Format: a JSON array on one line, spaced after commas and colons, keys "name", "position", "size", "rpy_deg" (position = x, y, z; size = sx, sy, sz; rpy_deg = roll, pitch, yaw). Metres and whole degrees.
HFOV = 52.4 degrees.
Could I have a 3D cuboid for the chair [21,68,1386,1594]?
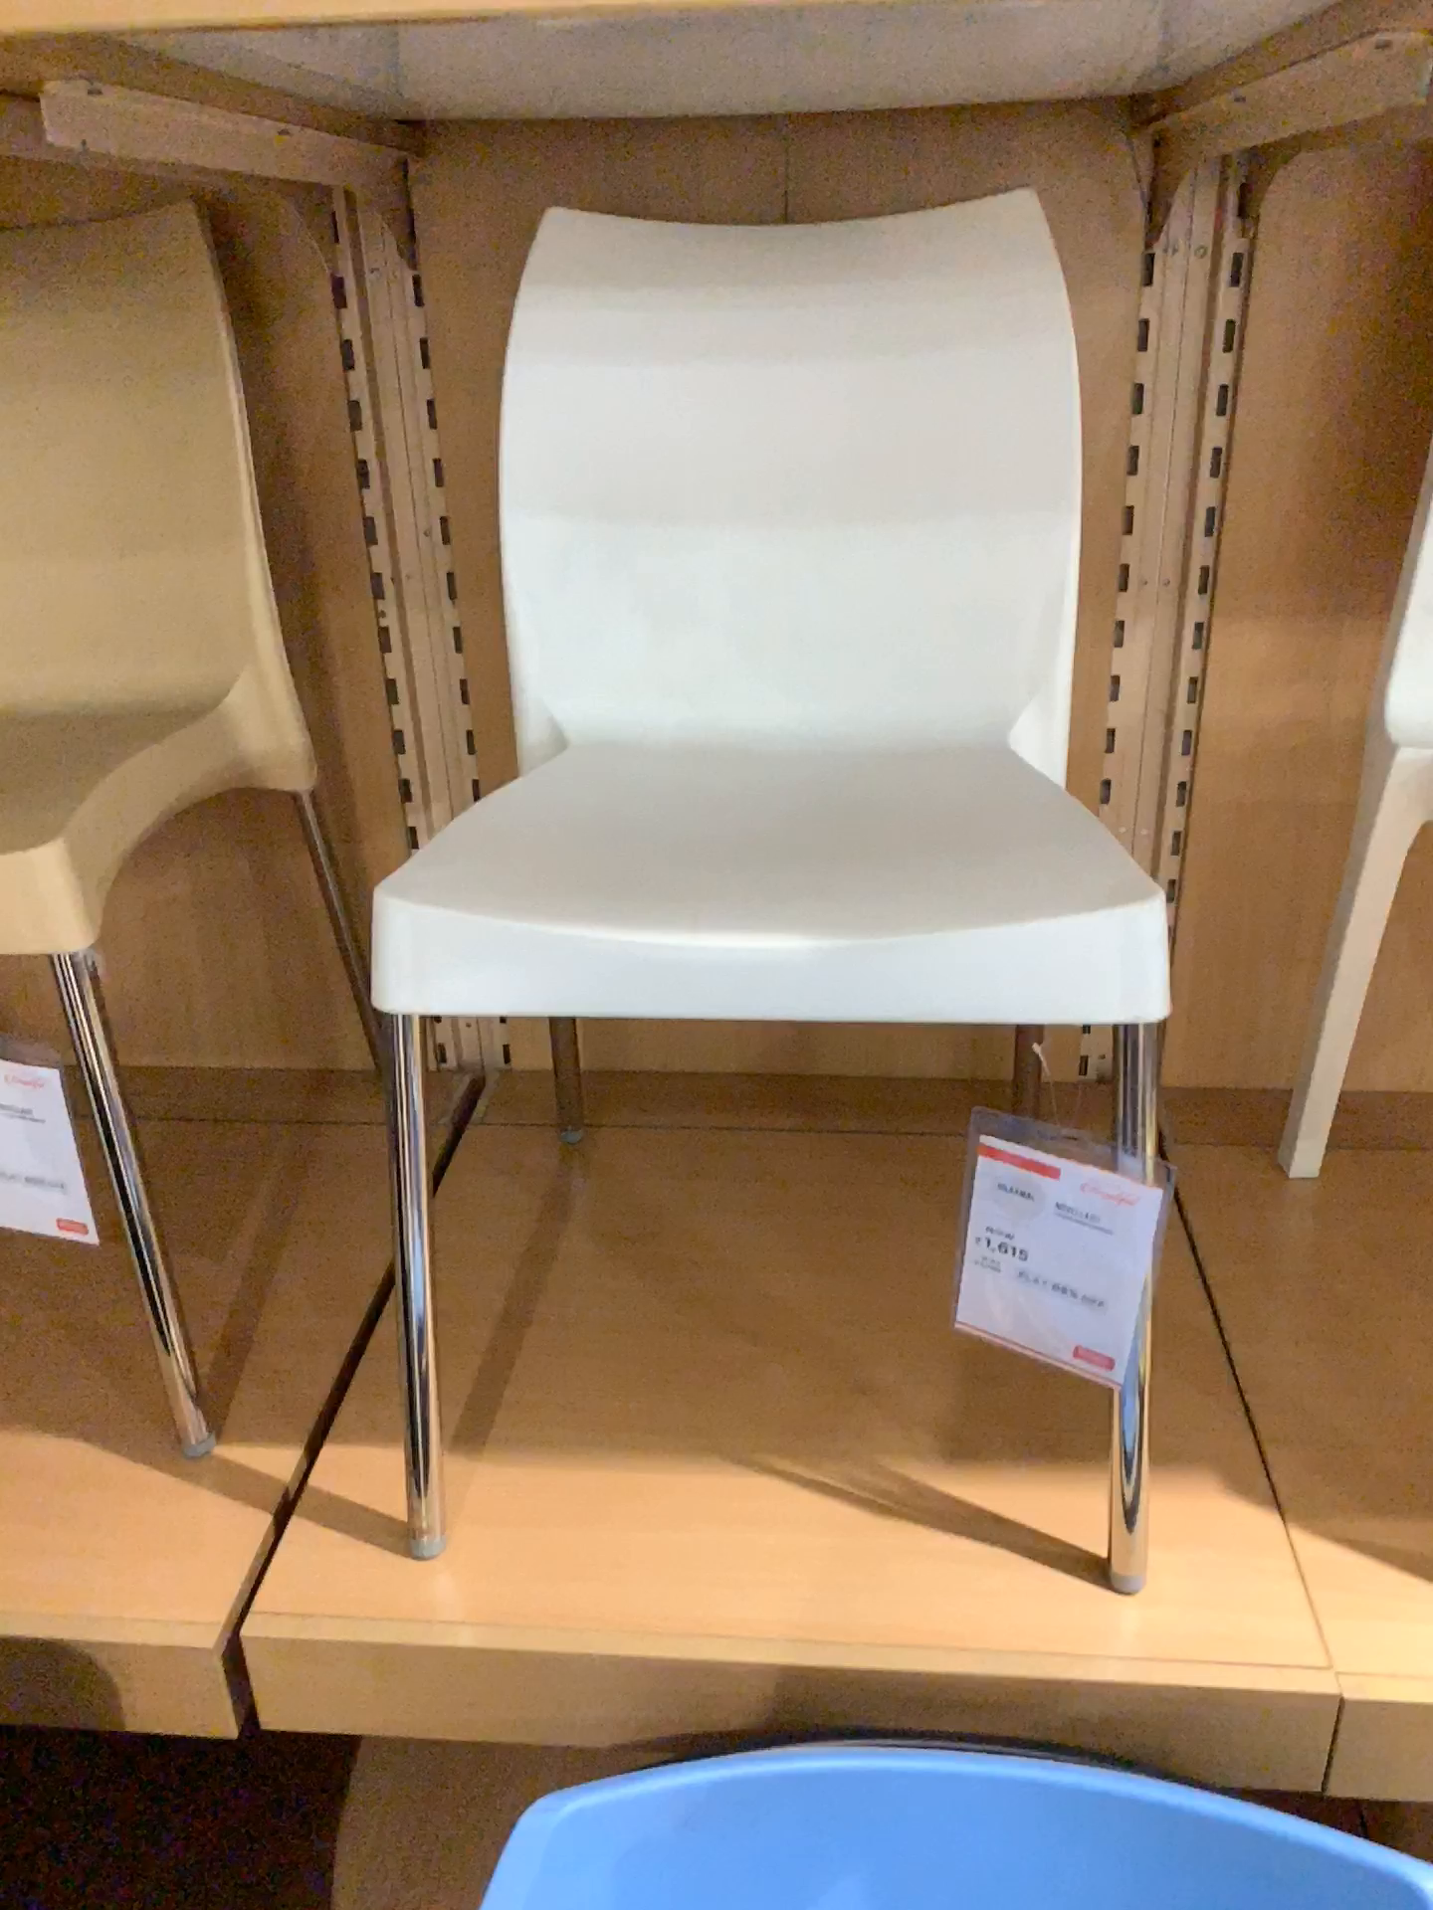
[{"name": "chair", "position": [0.020, -0.118, 1.151], "size": [0.610, 0.916, 0.683], "rpy_deg": [0, 26, 4]}]
